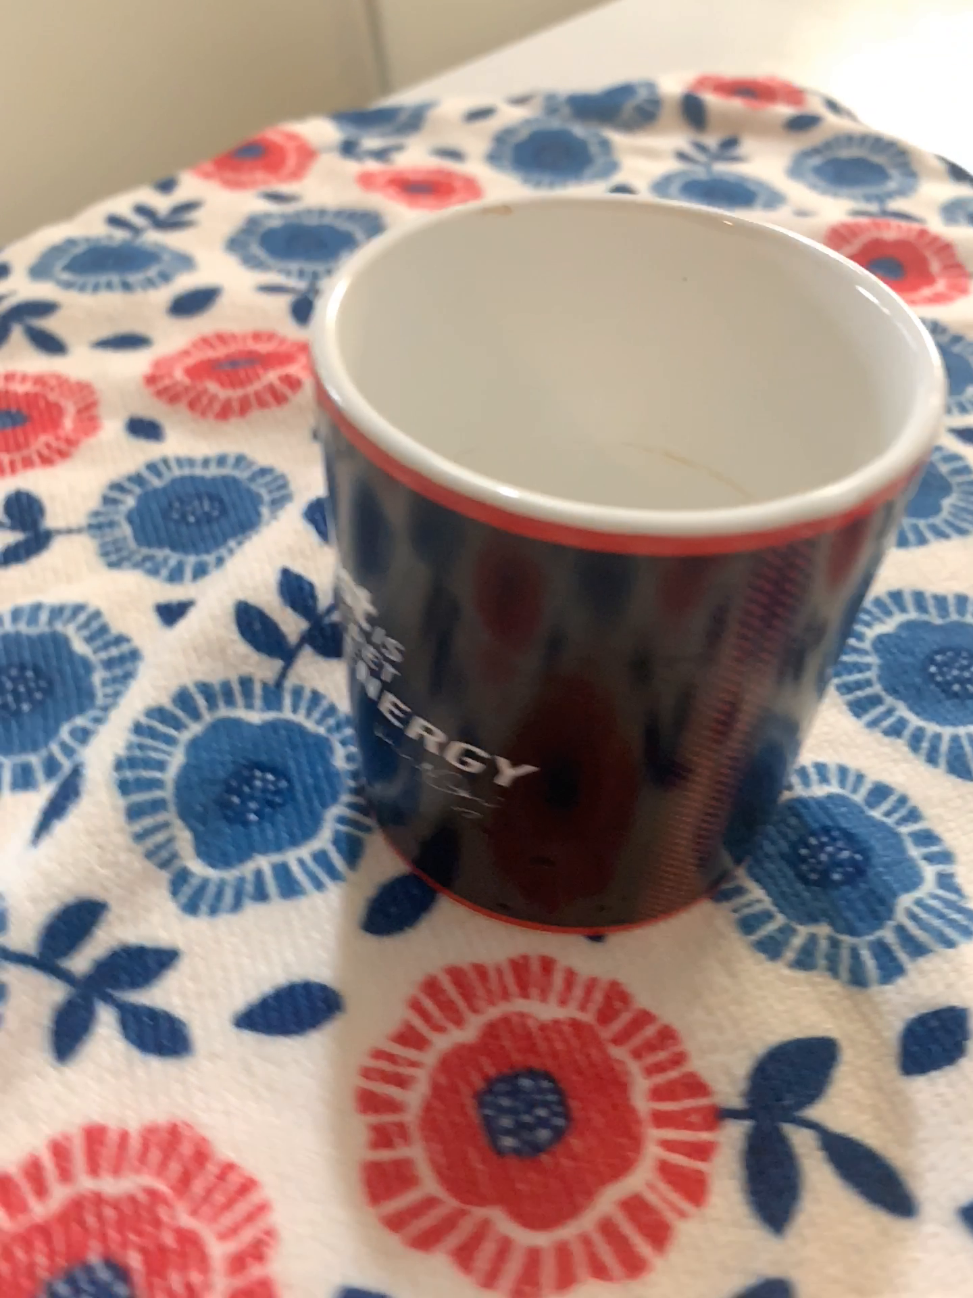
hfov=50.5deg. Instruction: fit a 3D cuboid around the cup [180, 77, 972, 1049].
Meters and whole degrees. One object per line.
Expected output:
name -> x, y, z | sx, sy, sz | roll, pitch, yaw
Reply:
cup -> 0.012, -0.021, 0.165 | 0.080, 0.089, 0.111 | -17, 49, -19
